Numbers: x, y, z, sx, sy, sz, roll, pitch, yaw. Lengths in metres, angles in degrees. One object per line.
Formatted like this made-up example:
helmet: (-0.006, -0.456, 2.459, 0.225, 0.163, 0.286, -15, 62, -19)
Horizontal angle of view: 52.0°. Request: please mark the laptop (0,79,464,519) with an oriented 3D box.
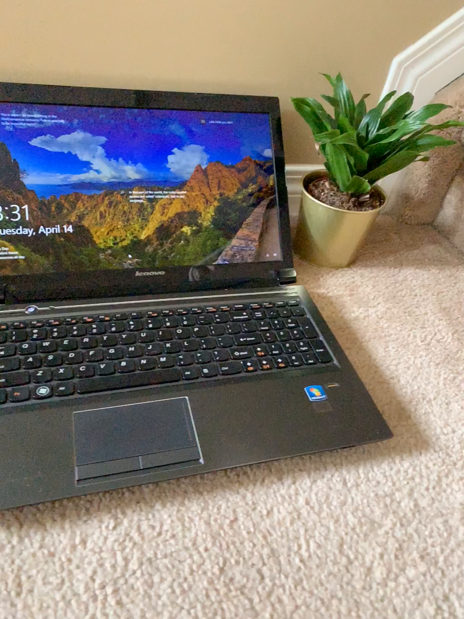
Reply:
laptop: (-0.076, -0.064, 0.478, 0.372, 0.167, 0.411, -5, 43, -18)
